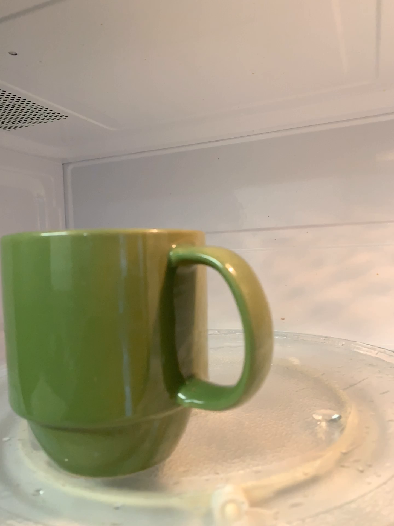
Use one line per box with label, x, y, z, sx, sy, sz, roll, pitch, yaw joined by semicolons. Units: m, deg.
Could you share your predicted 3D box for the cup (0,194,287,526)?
cup;-0.042;0.028;0.164;0.130;0.090;0.080;-1;2;34
